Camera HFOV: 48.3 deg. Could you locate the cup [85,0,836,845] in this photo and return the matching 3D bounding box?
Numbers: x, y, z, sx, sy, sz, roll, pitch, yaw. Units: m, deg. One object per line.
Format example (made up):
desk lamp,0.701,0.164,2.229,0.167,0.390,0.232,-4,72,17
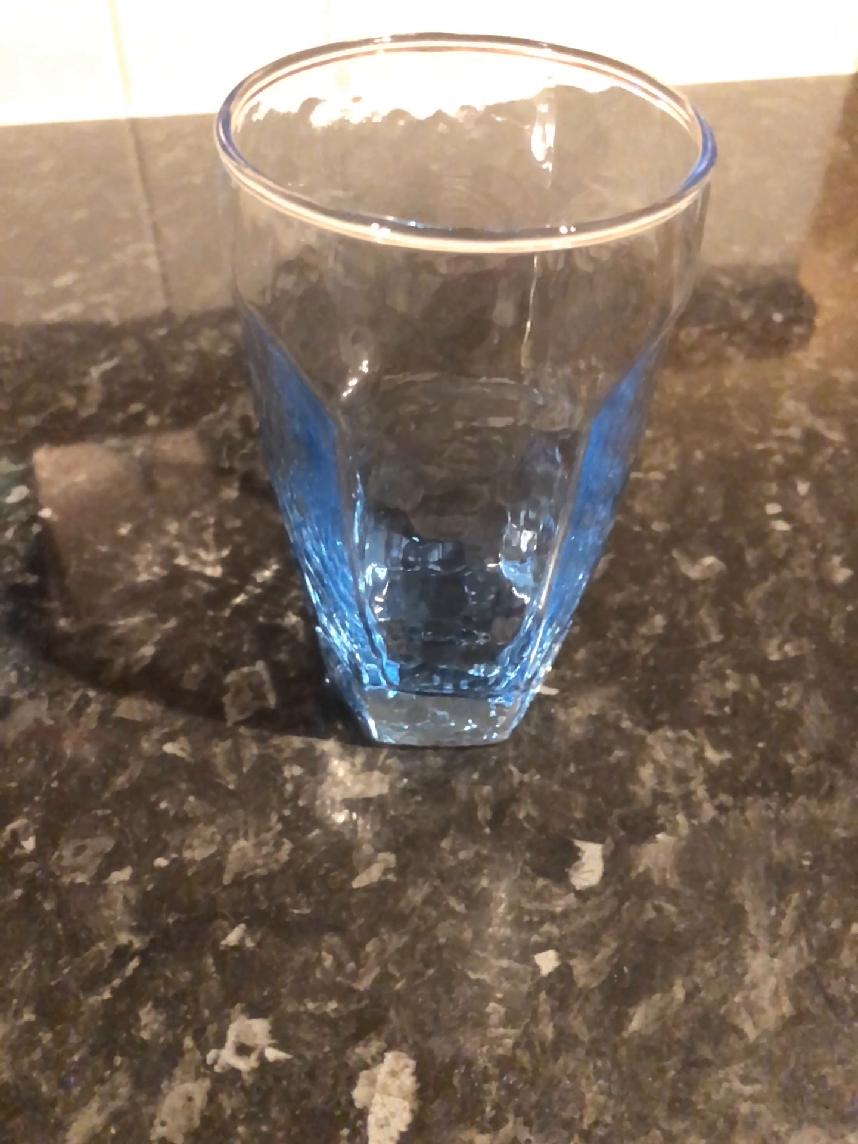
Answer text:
cup,0.006,-0.028,0.176,0.070,0.119,0.080,32,53,26
